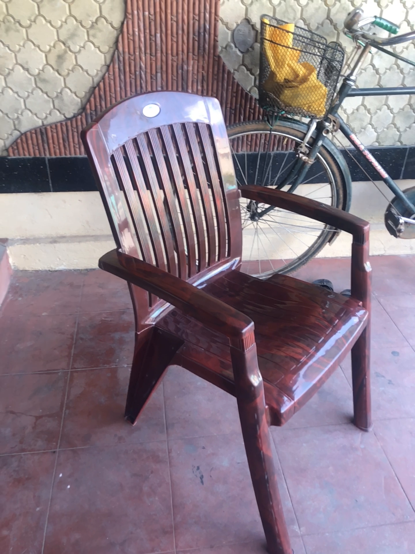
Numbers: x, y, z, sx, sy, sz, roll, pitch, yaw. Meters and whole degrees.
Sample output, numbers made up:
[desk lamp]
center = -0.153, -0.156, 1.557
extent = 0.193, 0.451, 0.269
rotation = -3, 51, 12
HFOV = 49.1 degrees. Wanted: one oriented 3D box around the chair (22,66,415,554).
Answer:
[chair]
center = 0.105, 0.040, 1.081
extent = 0.700, 0.845, 0.593
rotation = 26, 41, 32
